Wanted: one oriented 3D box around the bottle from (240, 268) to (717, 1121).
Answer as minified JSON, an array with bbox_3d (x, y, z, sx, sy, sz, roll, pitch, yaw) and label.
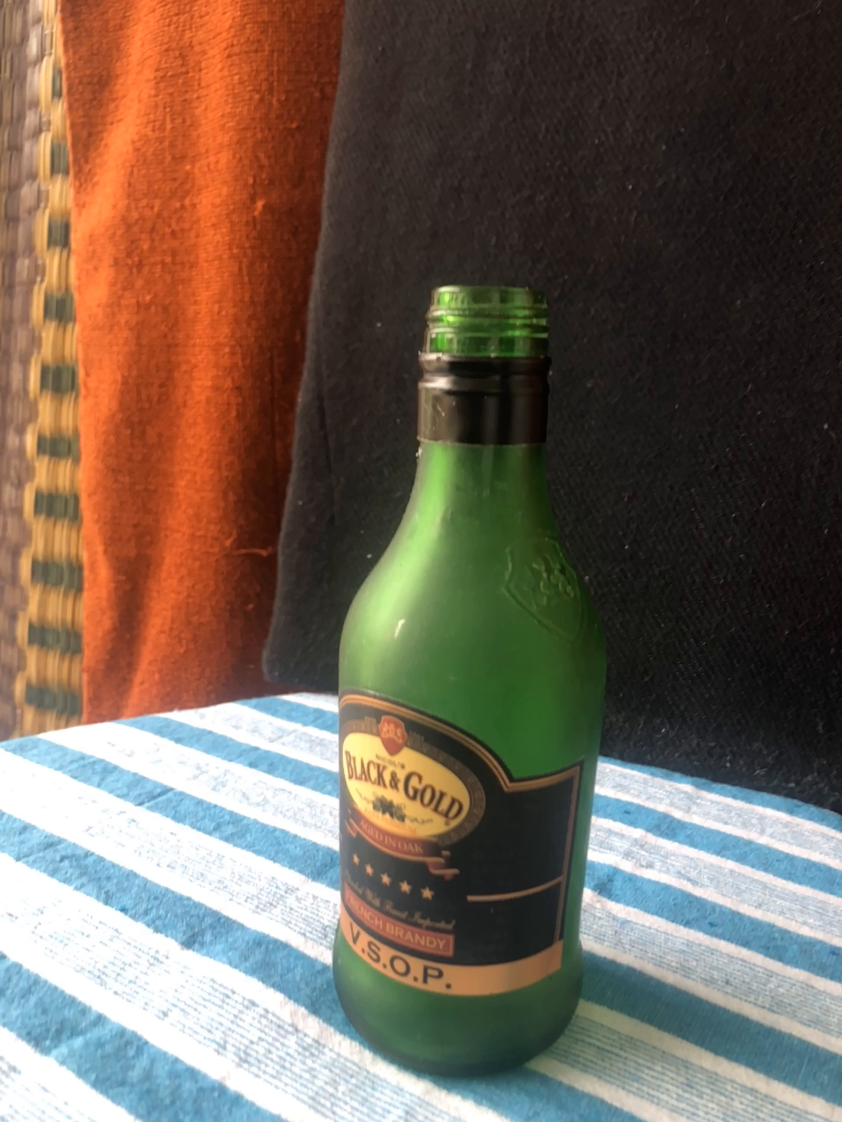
[{"bbox_3d":[0.009,0.019,0.183,0.060,0.140,0.060,4,14,-1],"label":"bottle"}]
